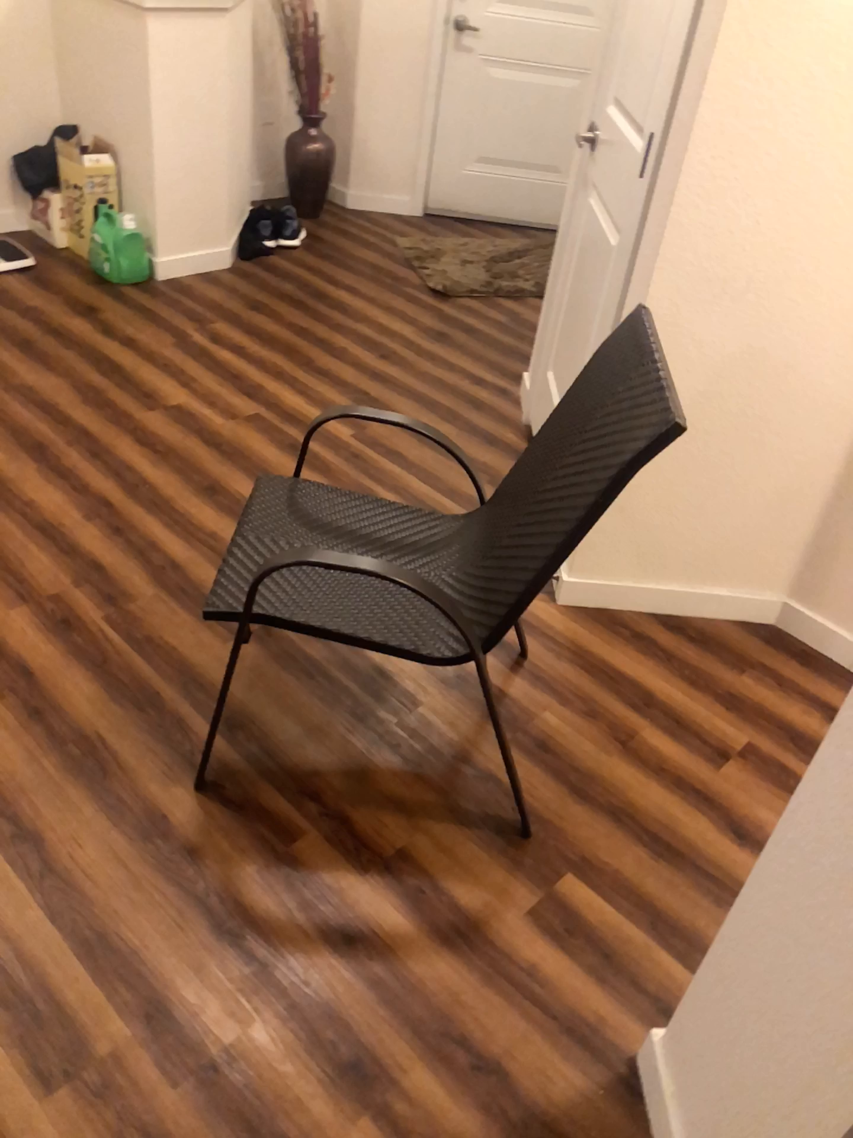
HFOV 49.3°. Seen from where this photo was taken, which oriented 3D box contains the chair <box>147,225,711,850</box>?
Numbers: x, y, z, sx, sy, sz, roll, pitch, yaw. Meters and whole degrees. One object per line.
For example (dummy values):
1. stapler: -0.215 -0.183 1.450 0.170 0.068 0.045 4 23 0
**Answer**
1. chair: -0.025 -0.054 1.710 0.747 0.852 0.600 9 36 0
